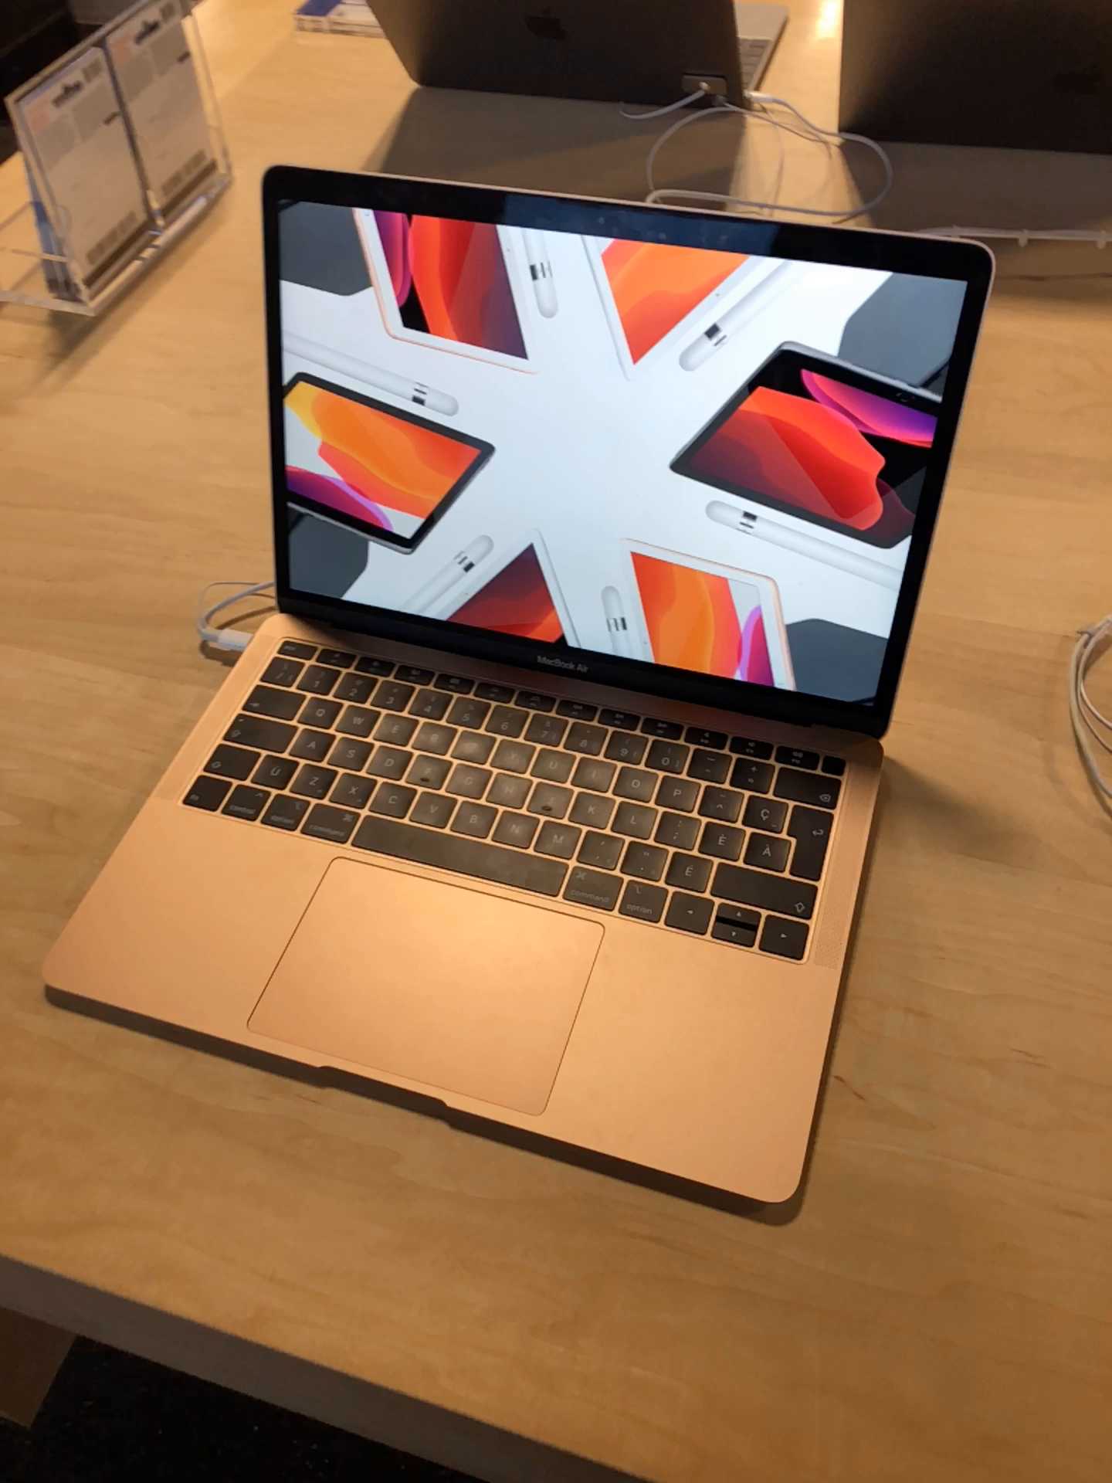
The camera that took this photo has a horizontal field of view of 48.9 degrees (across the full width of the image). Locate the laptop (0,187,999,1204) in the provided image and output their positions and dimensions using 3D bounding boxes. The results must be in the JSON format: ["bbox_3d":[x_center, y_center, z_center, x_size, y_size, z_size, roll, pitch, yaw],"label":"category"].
[{"bbox_3d":[-0.020,-0.040,0.459,0.292,0.183,0.284,13,51,15],"label":"laptop"}]
